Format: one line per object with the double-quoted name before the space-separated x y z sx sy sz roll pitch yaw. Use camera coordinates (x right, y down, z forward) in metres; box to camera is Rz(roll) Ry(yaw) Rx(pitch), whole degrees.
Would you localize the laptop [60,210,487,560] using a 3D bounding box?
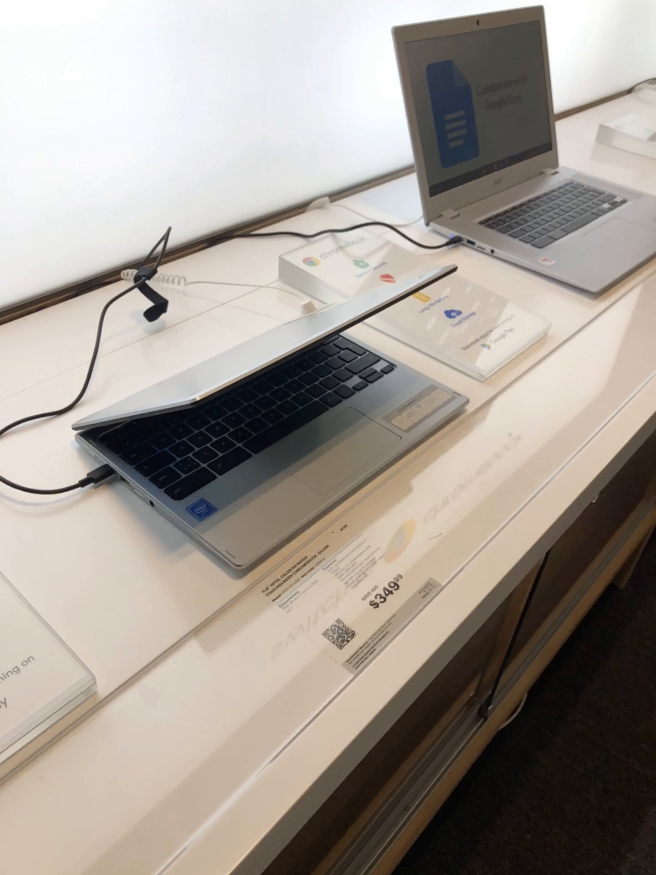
"laptop" -0.035 -0.067 0.601 0.192 0.123 0.280 31 45 29
